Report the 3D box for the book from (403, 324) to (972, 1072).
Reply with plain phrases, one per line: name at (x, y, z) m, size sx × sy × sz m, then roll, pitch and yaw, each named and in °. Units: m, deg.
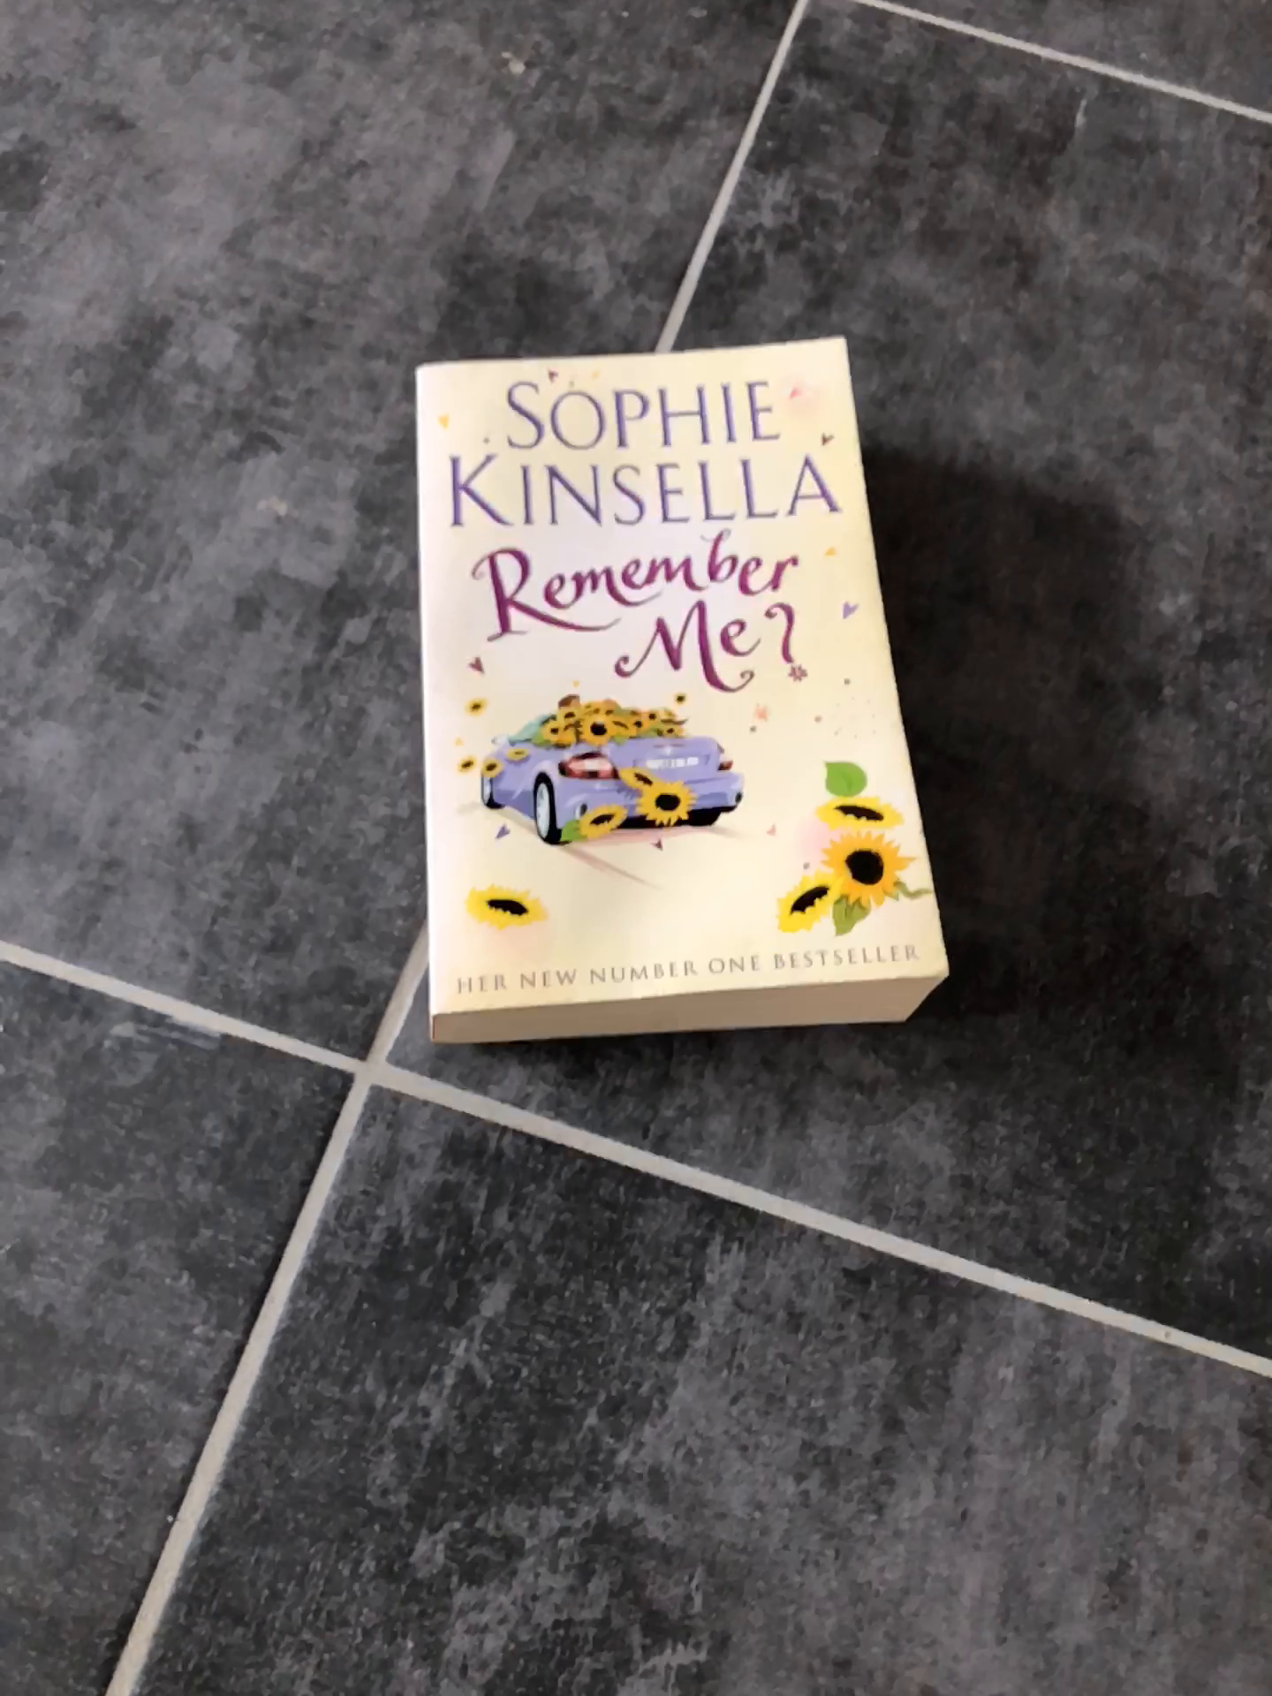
book at (0.006, -0.047, 0.381) m, size 0.130 × 0.040 × 0.200 m, roll -4°, pitch 67°, yaw -2°
